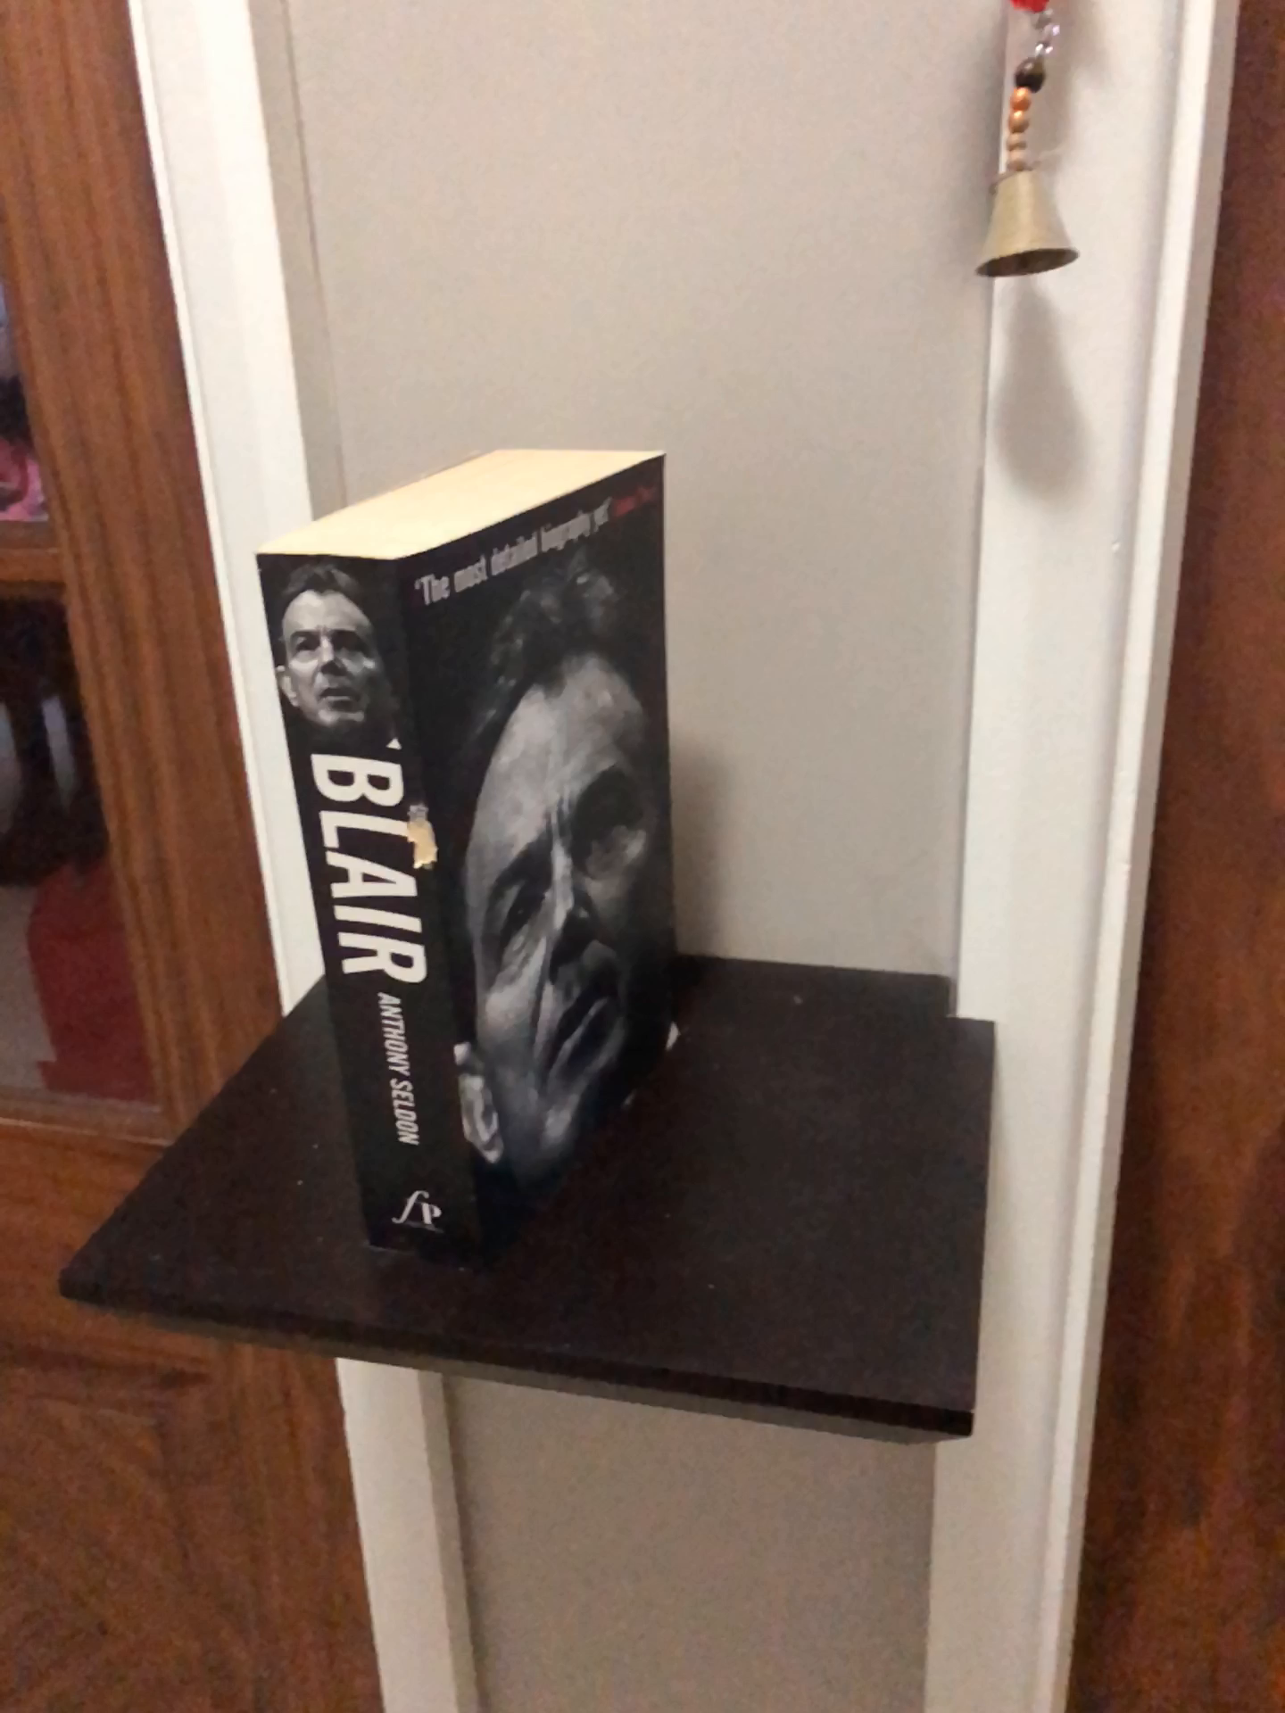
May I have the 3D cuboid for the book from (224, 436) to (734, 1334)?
[{"bbox_3d":[-0.030,-0.006,0.421,0.060,0.209,0.171,6,24,21],"label":"book"}]
